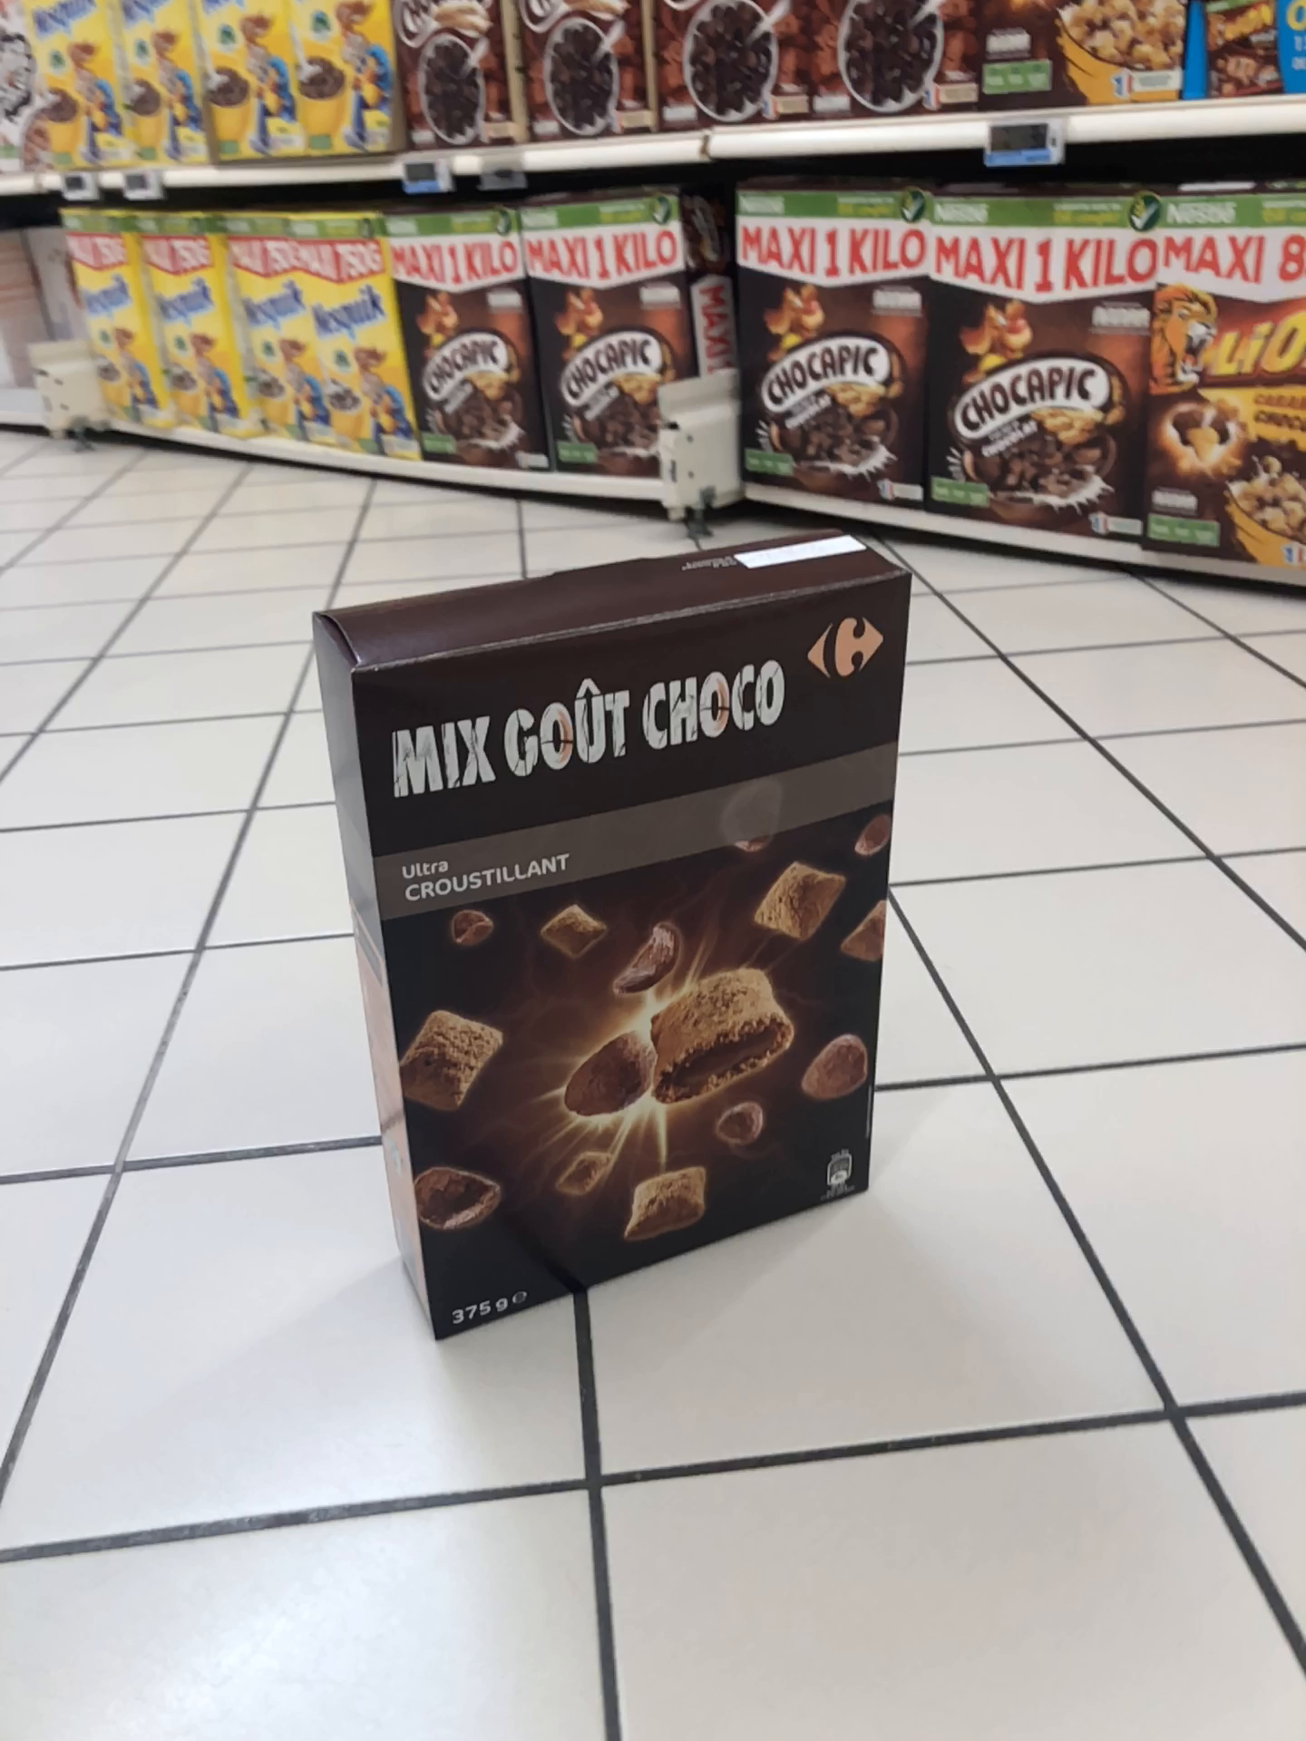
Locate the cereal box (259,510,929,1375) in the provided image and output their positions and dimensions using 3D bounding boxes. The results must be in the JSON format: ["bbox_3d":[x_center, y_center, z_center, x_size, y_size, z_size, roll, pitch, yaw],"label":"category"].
[{"bbox_3d":[-0.014,0.025,0.526,0.201,0.268,0.080,-14,31,-22],"label":"cereal box"}]
